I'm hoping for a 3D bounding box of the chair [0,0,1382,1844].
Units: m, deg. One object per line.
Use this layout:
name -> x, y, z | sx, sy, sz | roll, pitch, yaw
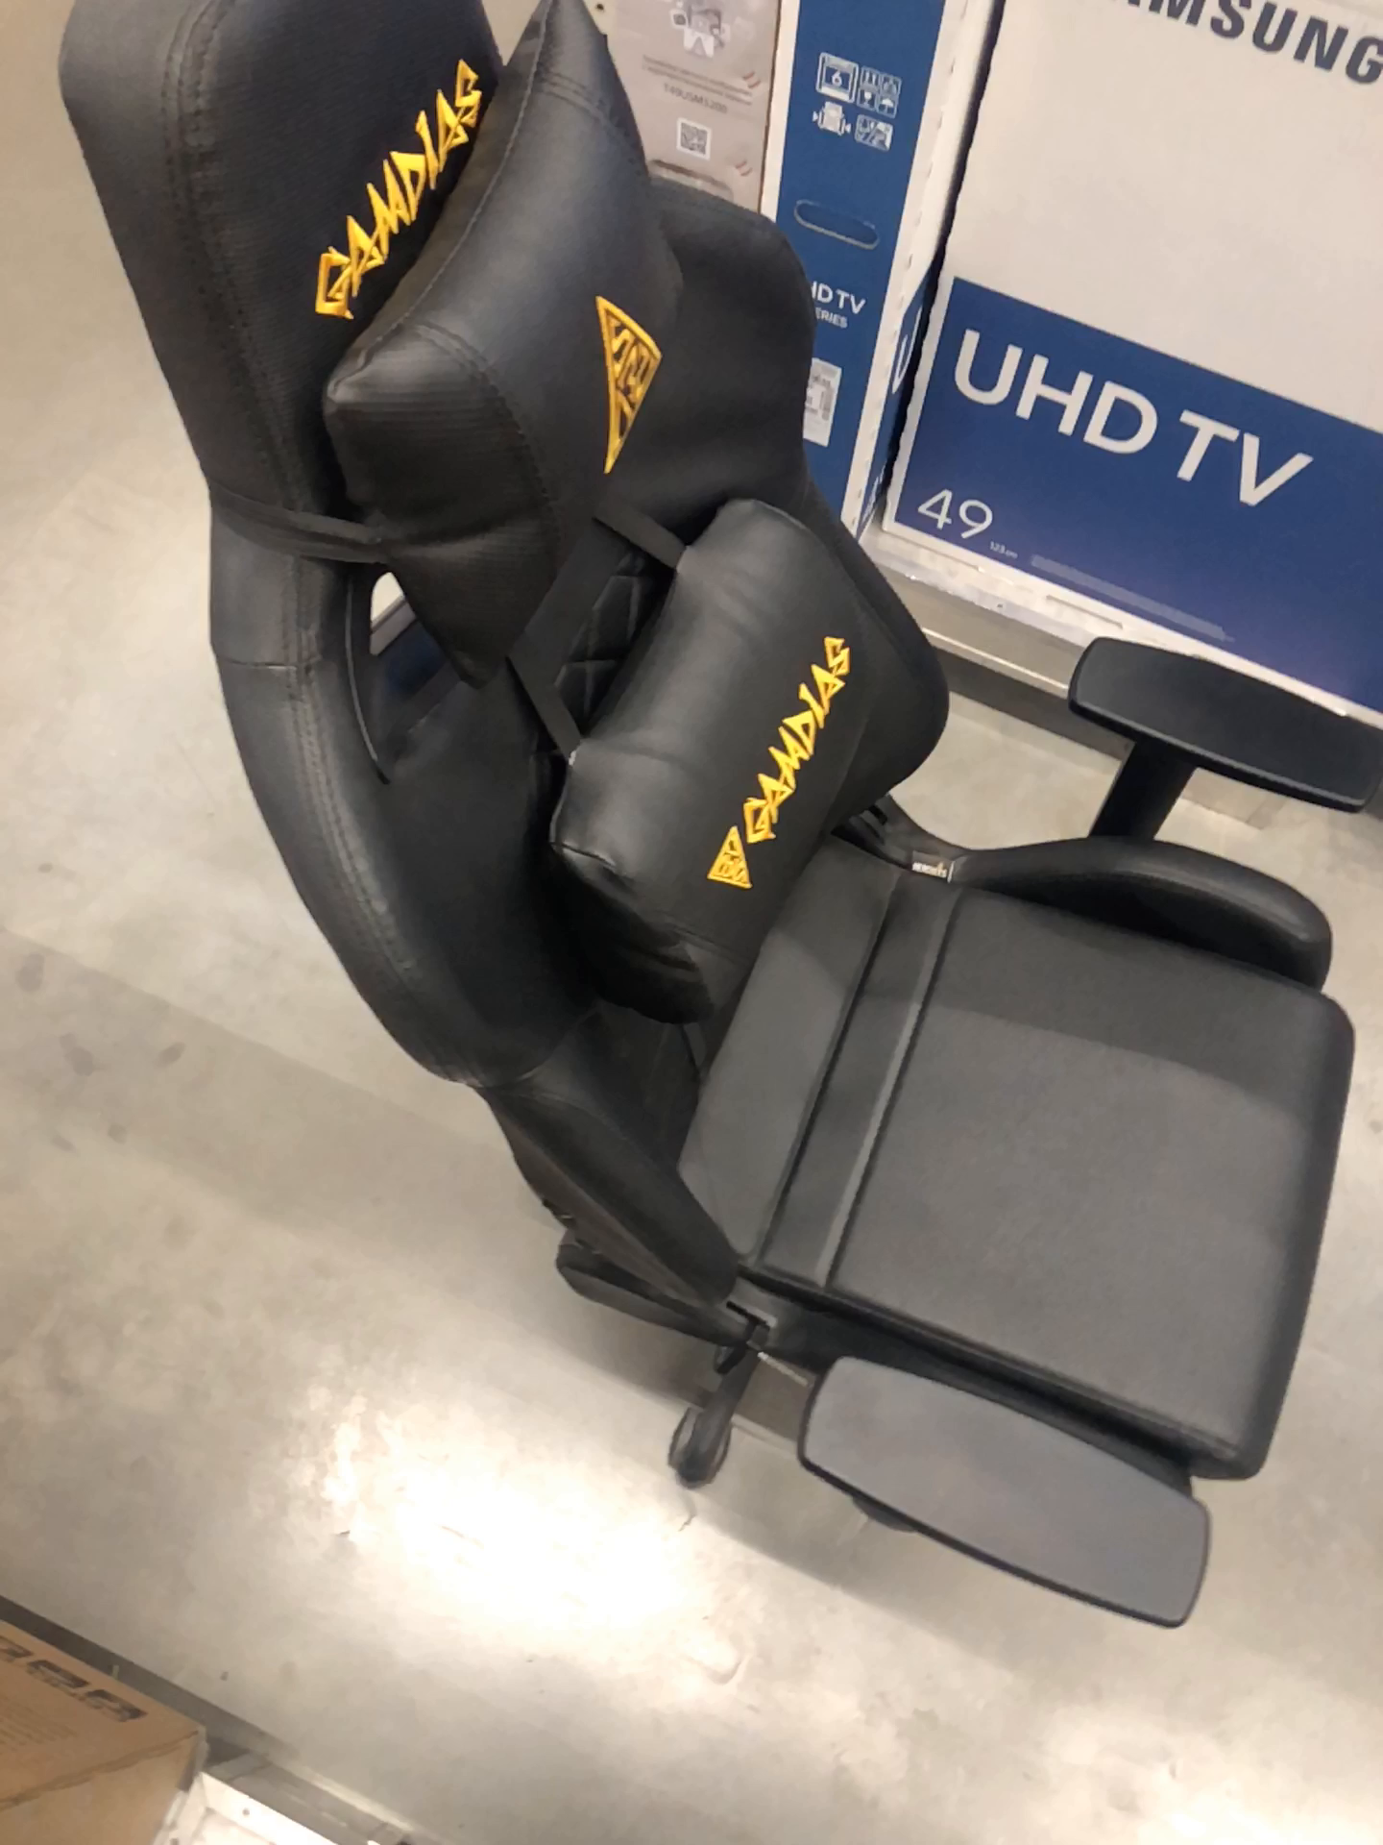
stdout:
chair -> 0.165, 0.038, 1.061 | 0.780, 1.286, 0.742 | 21, 67, 7
